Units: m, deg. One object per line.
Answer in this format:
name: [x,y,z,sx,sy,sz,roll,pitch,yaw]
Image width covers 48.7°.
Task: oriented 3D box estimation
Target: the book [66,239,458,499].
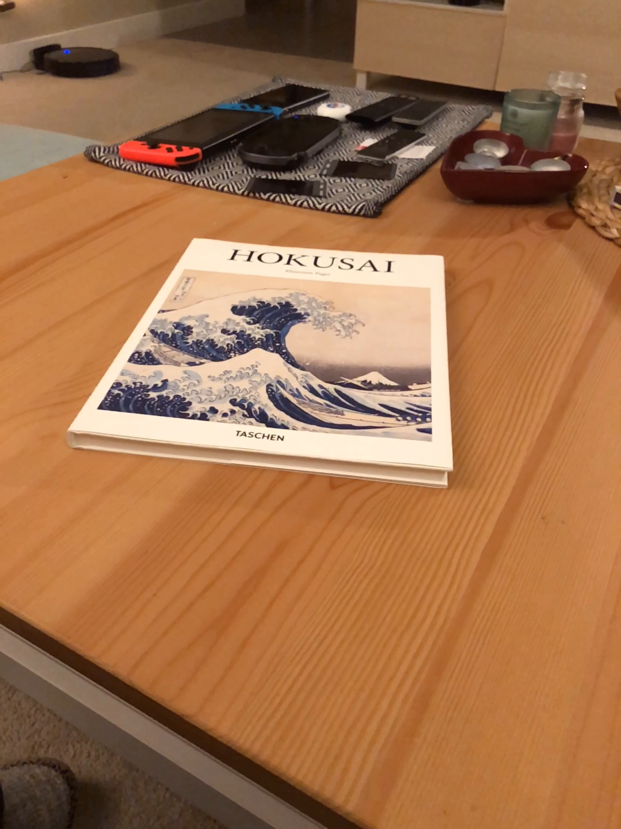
book: [-0.011,-0.051,0.467,0.210,0.020,0.253,6,38,5]
